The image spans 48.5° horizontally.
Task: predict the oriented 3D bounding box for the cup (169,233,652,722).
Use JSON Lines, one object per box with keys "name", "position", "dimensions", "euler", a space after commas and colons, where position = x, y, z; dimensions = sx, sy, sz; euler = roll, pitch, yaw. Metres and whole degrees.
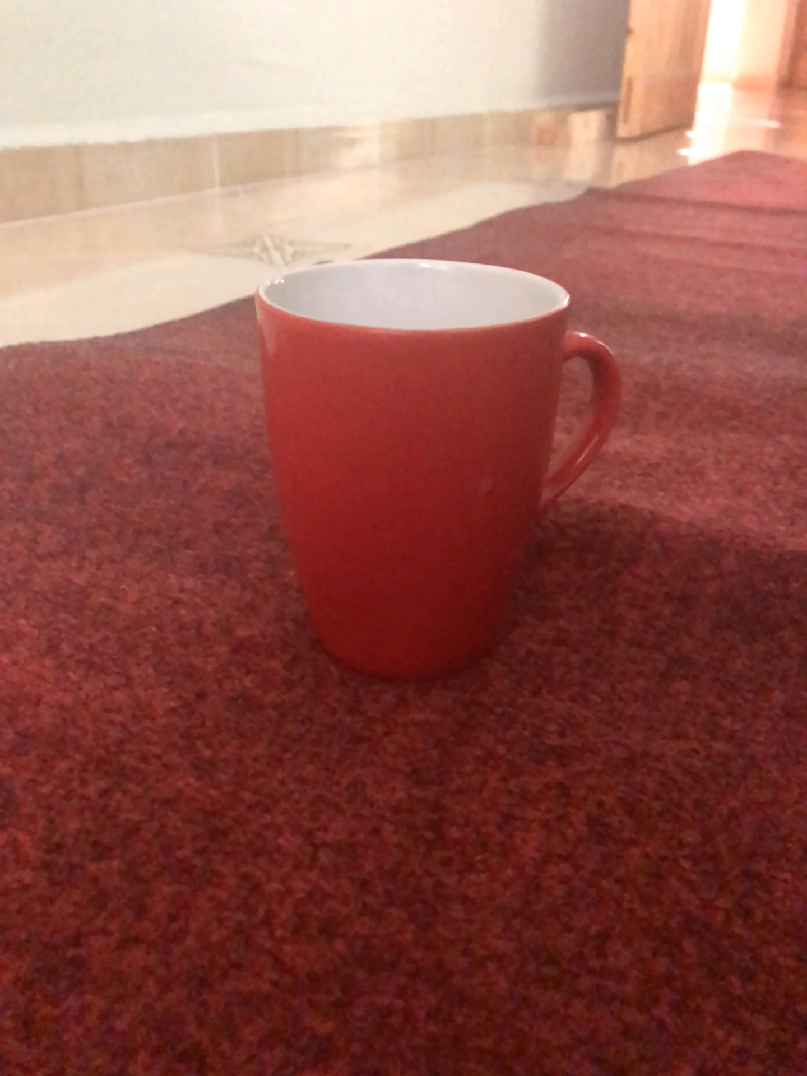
{"name": "cup", "position": [0.006, -0.028, 0.258], "dimensions": [0.078, 0.094, 0.109], "euler": [20, 33, 33]}
